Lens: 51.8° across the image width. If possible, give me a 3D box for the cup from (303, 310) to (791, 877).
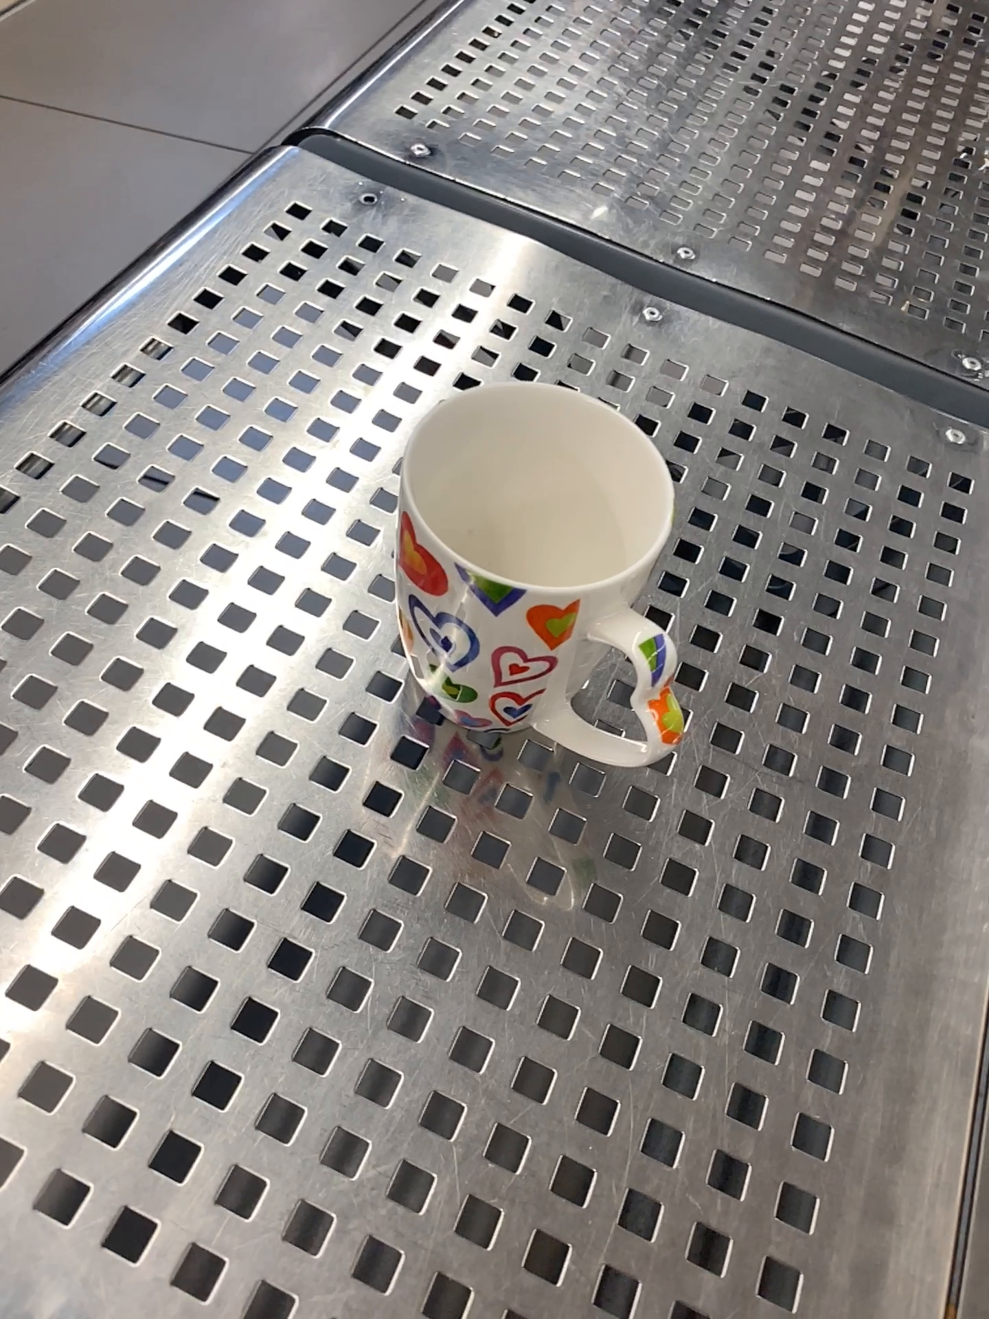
[{"bbox_3d":[0.006,-0.019,0.308,0.070,0.100,0.120,-29,66,-23],"label":"cup"}]
